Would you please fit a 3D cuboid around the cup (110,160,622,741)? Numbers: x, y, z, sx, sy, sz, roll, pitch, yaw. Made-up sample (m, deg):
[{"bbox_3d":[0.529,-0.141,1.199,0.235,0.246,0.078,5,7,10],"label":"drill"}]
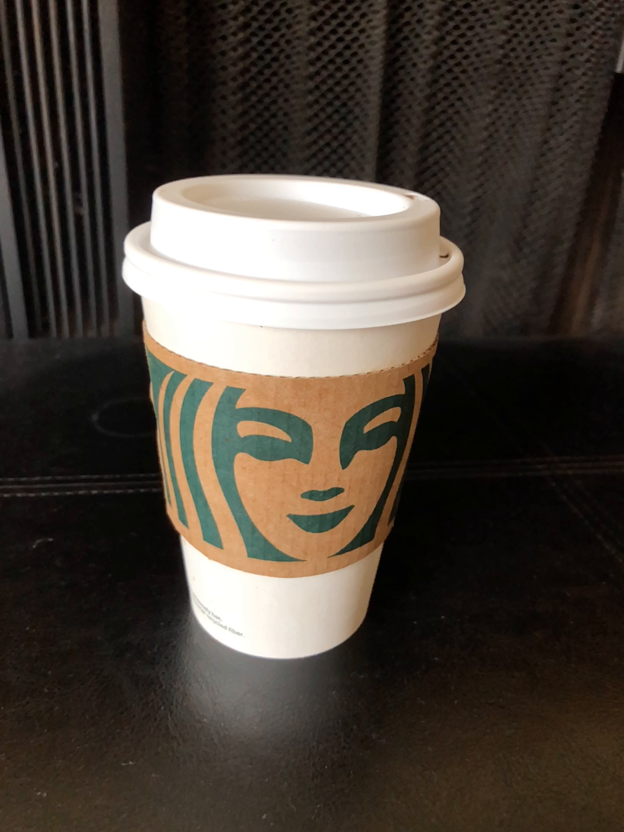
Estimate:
[{"bbox_3d":[0.005,-0.002,0.199,0.090,0.120,0.090,3,27,-2],"label":"cup"}]
